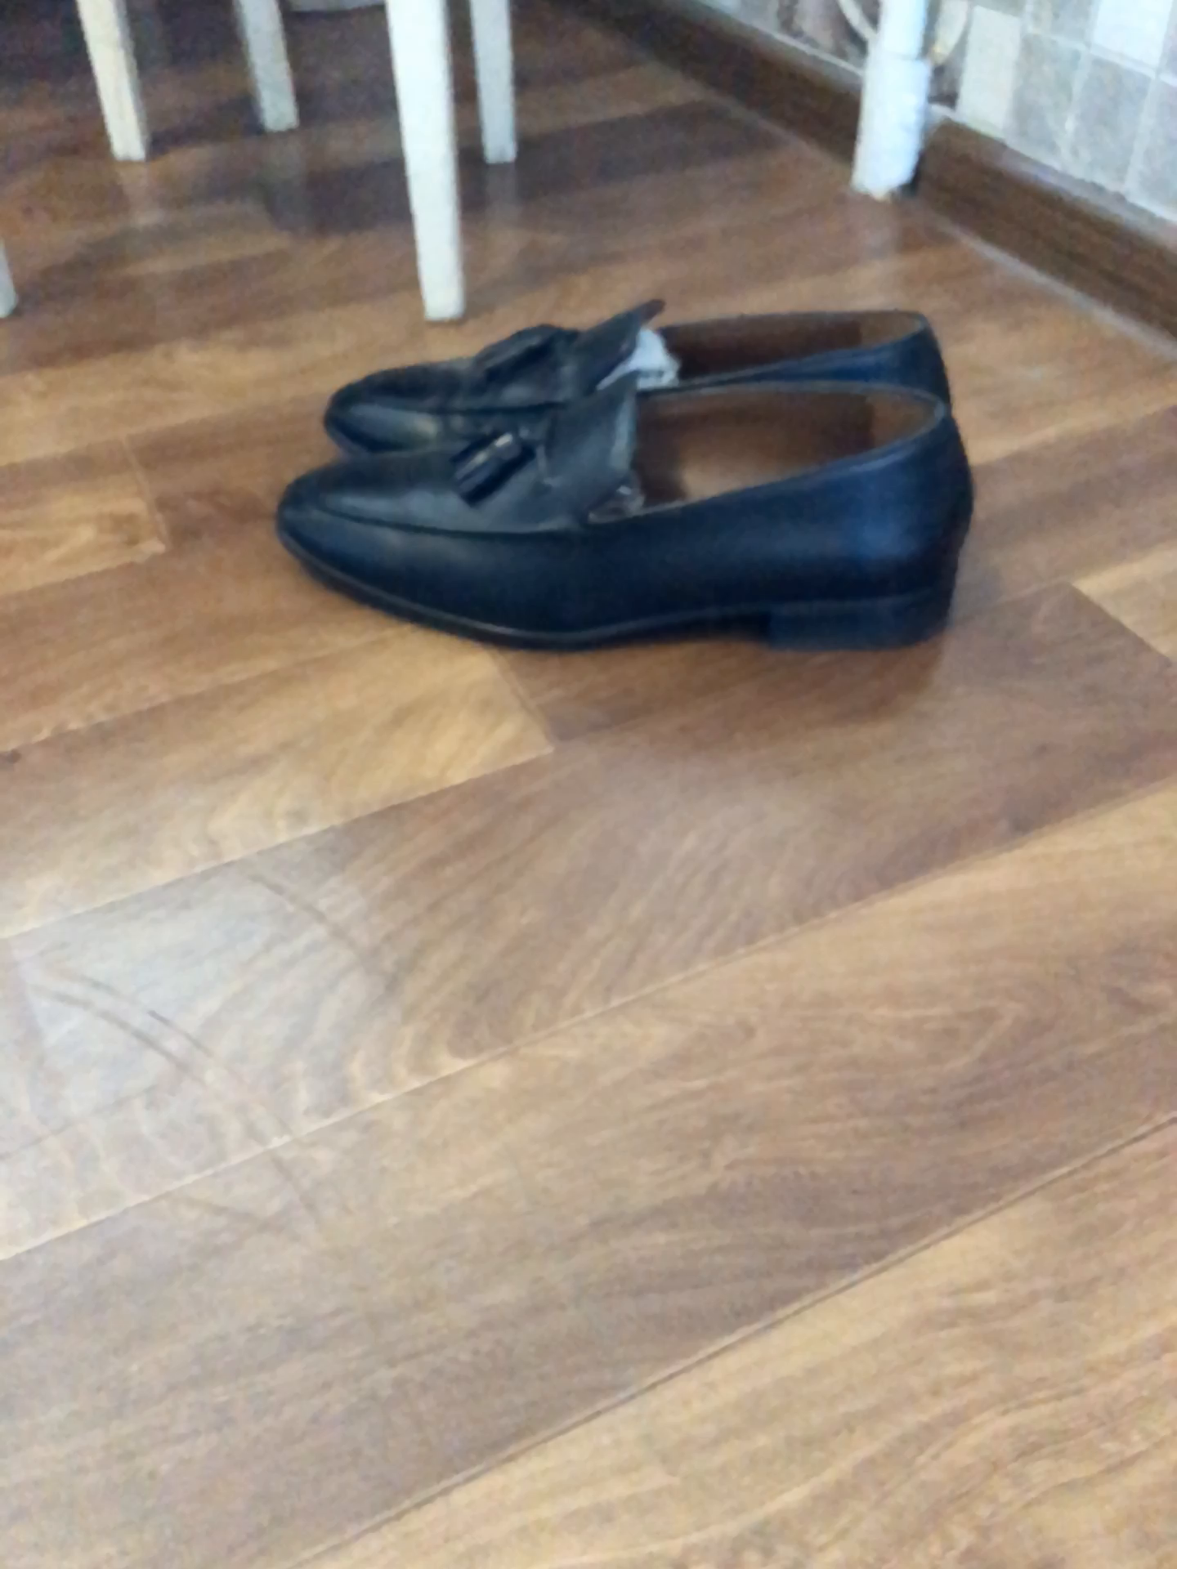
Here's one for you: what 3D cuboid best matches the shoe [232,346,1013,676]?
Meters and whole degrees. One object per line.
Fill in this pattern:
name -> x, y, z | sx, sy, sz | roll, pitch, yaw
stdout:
shoe -> 0.014, -0.104, 0.481 | 0.253, 0.068, 0.101 | 3, 44, 6

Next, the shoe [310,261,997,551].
shoe -> 0.028, -0.159, 0.539 | 0.253, 0.068, 0.101 | 4, 44, 7
